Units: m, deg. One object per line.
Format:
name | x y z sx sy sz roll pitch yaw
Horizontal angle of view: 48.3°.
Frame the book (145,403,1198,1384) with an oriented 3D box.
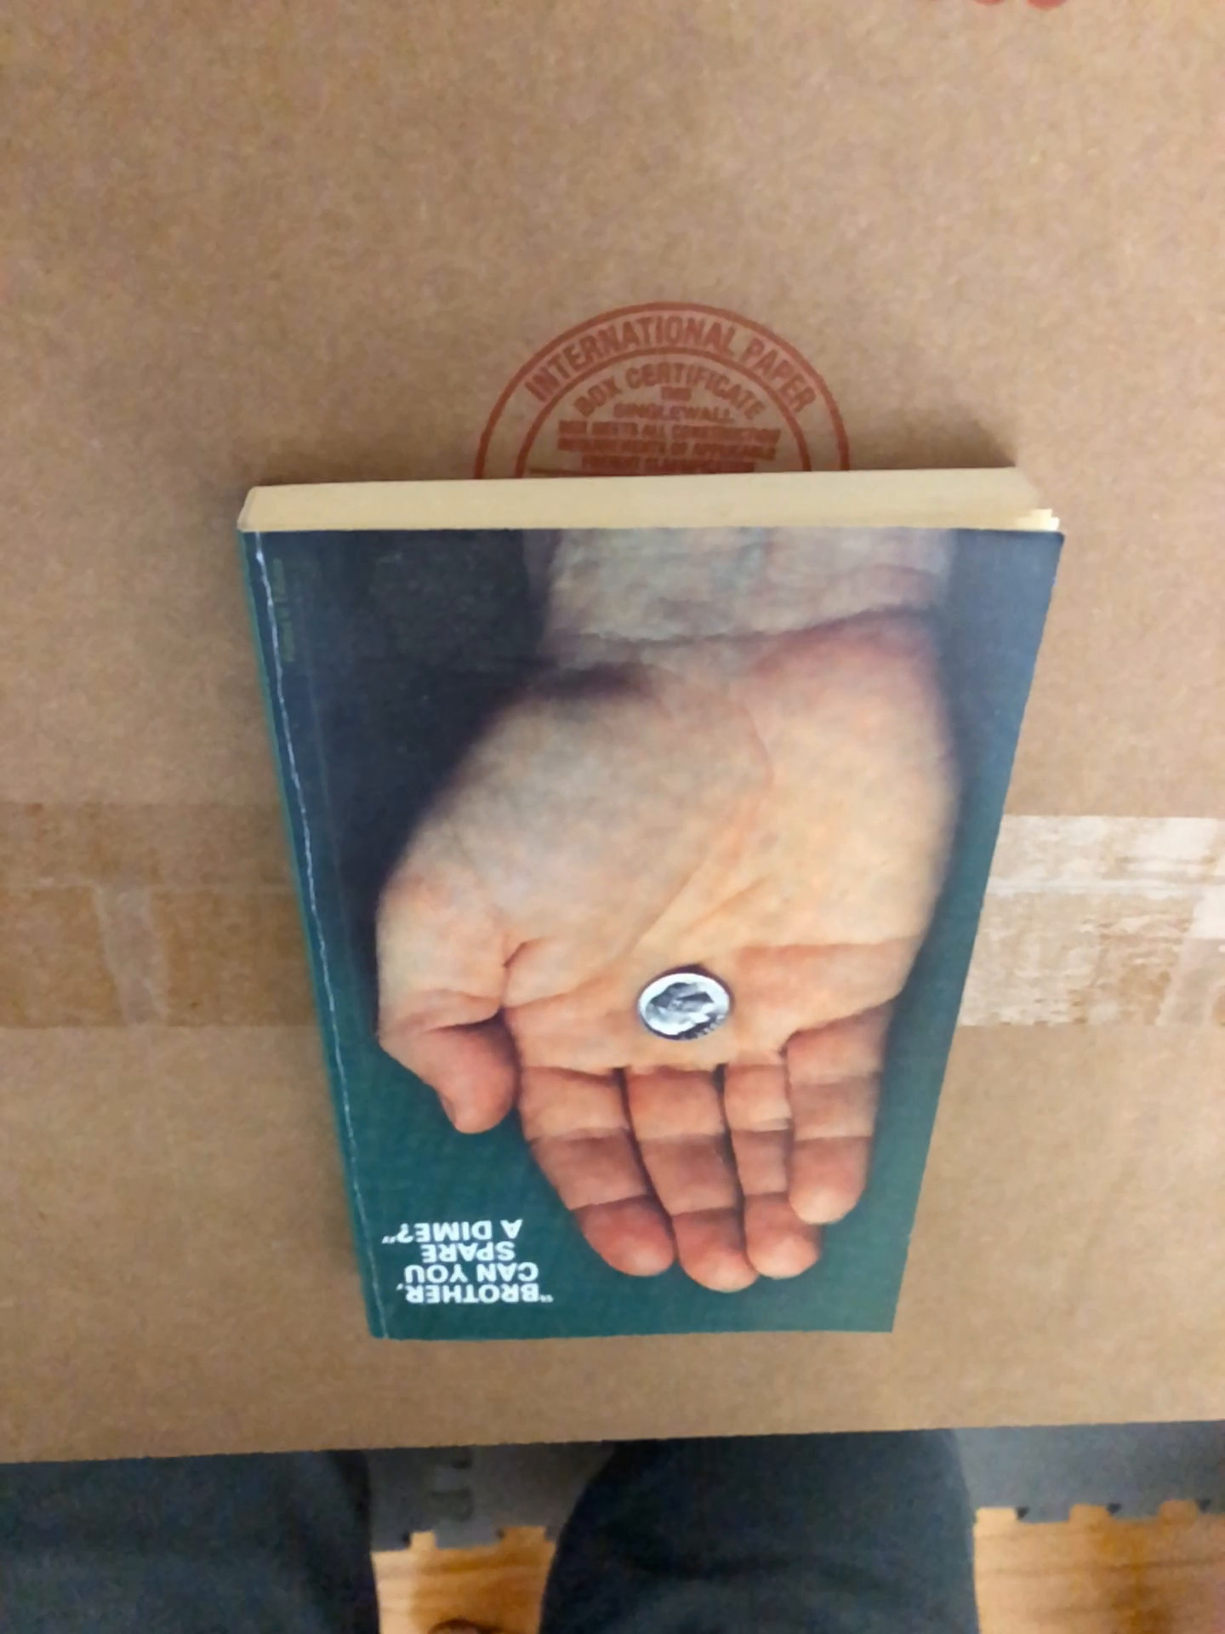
book | 0.007 0.027 0.217 0.120 0.020 0.181 -2 127 -3
